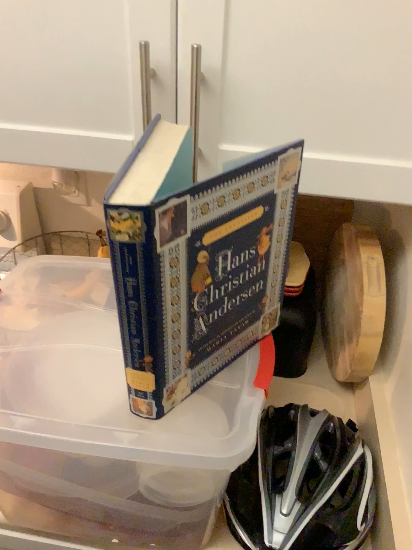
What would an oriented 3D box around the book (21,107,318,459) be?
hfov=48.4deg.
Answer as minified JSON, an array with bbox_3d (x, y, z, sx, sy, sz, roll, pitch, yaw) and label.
[{"bbox_3d":[-0.020,-0.008,0.515,0.200,0.260,0.250,15,37,14],"label":"book"}]
